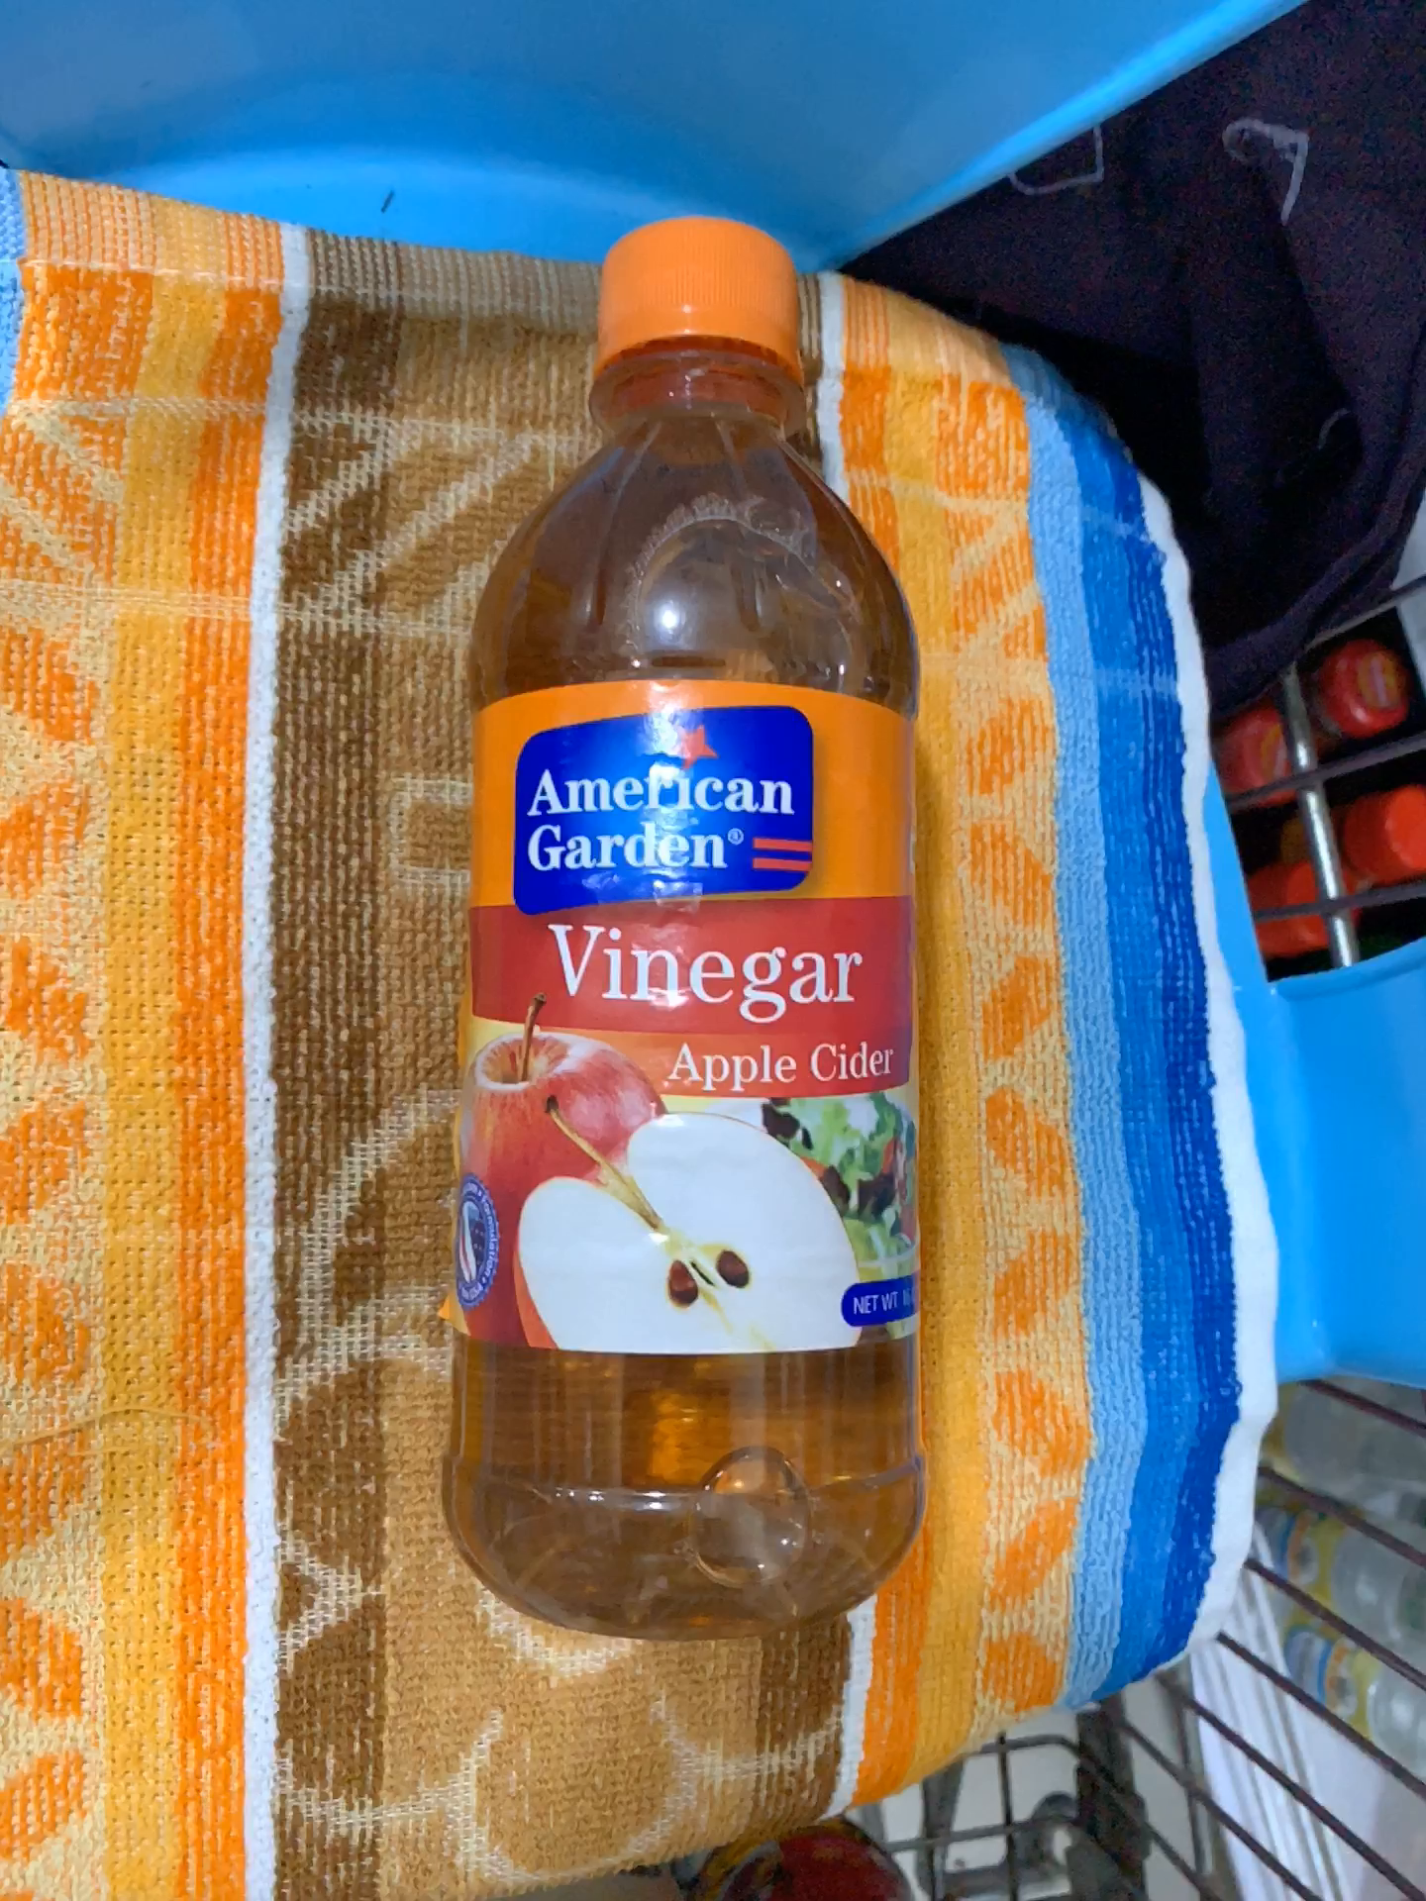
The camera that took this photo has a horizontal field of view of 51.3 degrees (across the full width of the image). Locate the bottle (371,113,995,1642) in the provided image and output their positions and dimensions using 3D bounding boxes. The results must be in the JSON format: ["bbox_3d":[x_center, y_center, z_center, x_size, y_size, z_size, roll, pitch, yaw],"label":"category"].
[{"bbox_3d":[-0.005,-0.010,0.200,0.070,0.050,0.180,-1,87,-2],"label":"bottle"}]
